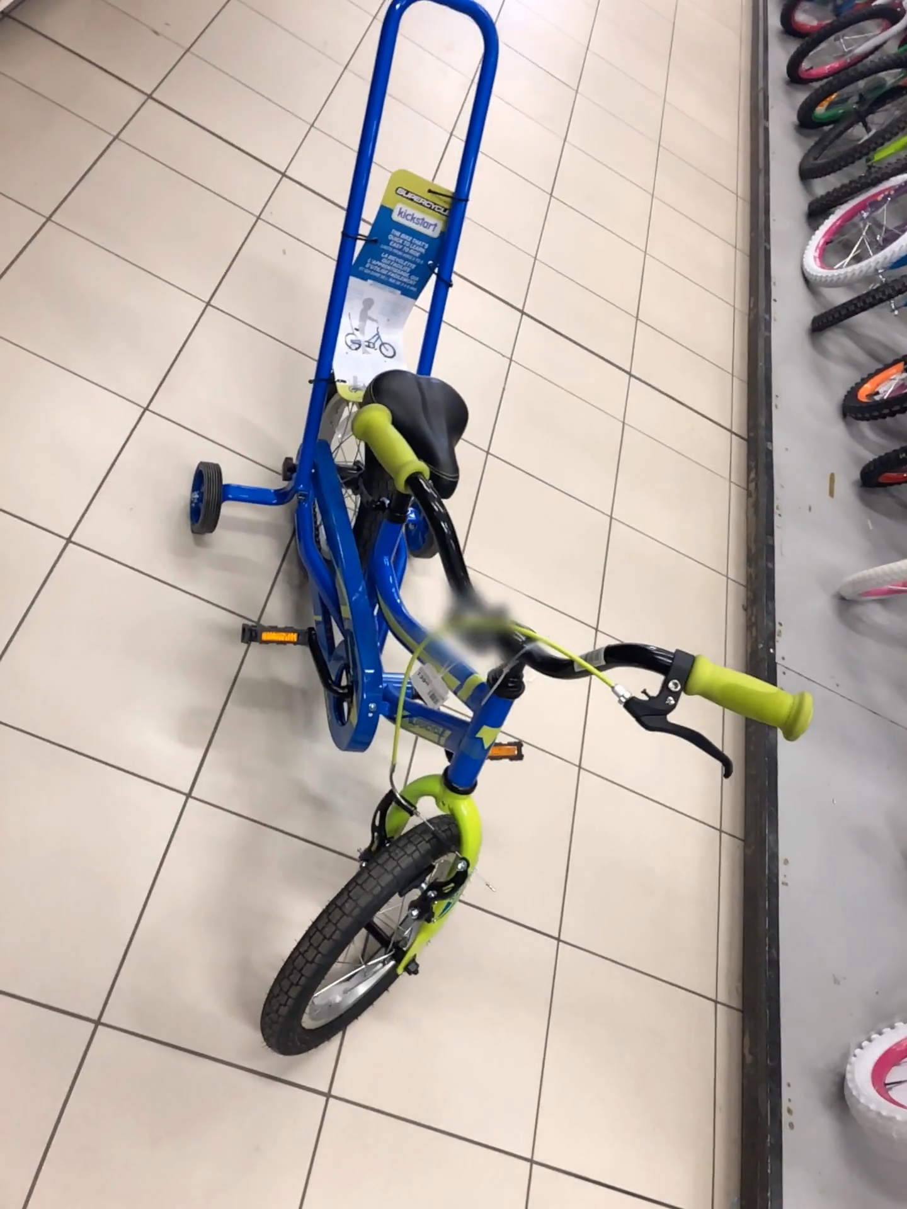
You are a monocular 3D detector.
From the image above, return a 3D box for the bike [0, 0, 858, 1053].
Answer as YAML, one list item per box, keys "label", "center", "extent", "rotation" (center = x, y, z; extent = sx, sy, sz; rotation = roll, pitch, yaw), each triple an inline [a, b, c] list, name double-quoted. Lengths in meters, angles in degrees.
- label: "bike"
  center: [-0.132, -0.066, 1.163]
  extent: [0.539, 0.763, 0.956]
  rotation: [14, 52, -24]
